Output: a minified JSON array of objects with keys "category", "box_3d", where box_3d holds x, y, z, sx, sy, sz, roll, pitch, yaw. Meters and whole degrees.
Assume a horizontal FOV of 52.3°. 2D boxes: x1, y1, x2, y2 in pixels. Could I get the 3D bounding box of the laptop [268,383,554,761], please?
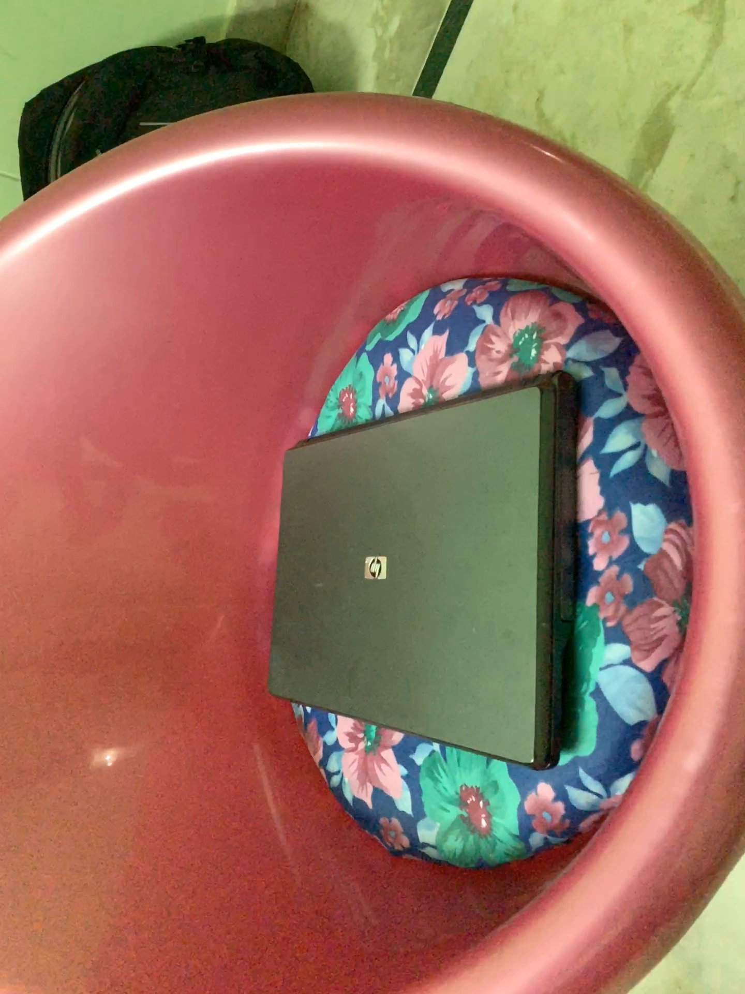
[{"category":"laptop","box_3d":[0.009,0.052,0.567,0.305,0.003,0.222,-7,79,51]}]
